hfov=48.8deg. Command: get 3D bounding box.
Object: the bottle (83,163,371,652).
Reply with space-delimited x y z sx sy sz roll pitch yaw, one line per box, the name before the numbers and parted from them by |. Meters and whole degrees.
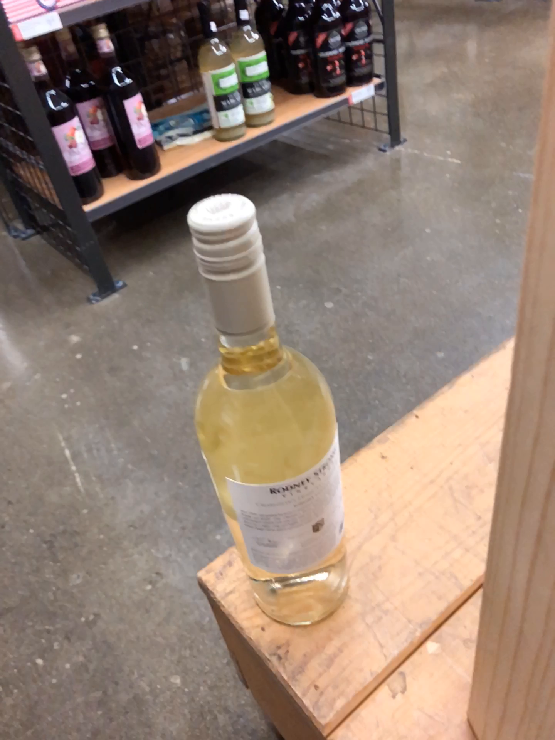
bottle | -0.011 0.042 0.346 0.073 0.283 0.079 -7 40 6
